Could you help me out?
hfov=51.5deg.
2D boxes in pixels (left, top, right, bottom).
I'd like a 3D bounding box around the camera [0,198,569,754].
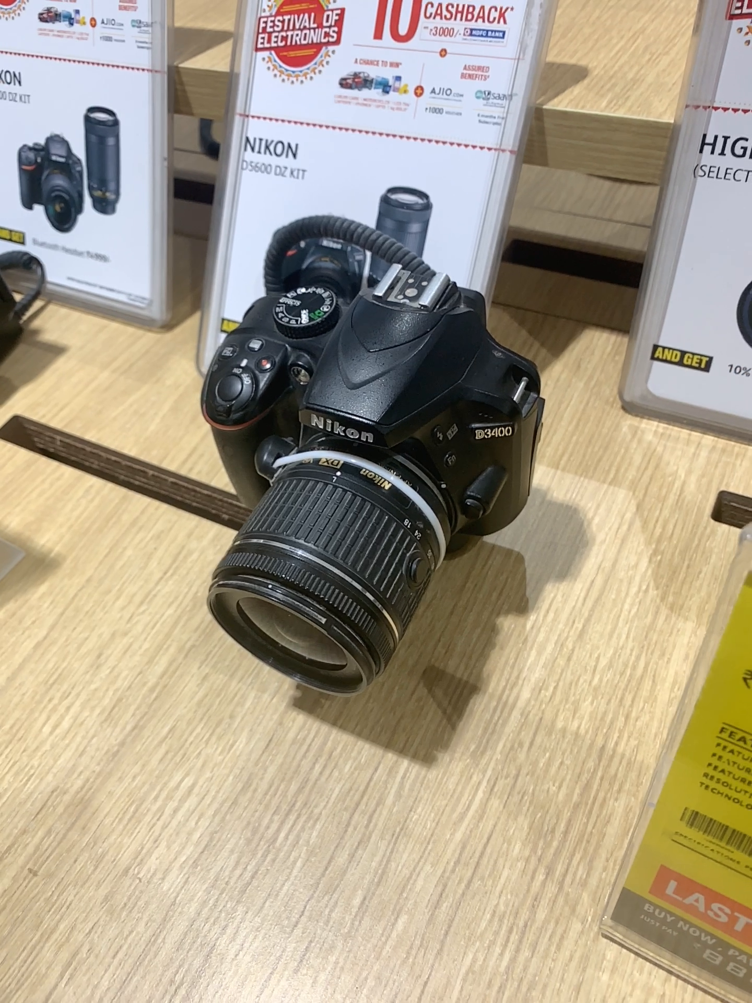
[{"bbox_3d":[-0.017,-0.014,0.254,0.120,0.100,0.120,16,54,21],"label":"camera"}]
